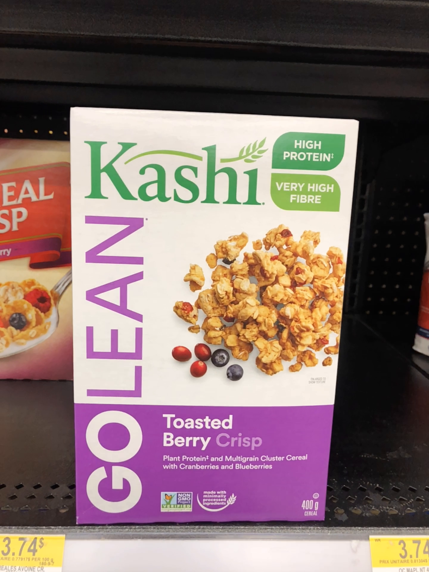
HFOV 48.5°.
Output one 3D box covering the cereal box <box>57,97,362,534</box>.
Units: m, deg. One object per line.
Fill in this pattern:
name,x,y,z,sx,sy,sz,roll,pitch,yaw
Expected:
cereal box,-0.008,0.026,0.315,0.170,0.269,0.050,1,11,-5
